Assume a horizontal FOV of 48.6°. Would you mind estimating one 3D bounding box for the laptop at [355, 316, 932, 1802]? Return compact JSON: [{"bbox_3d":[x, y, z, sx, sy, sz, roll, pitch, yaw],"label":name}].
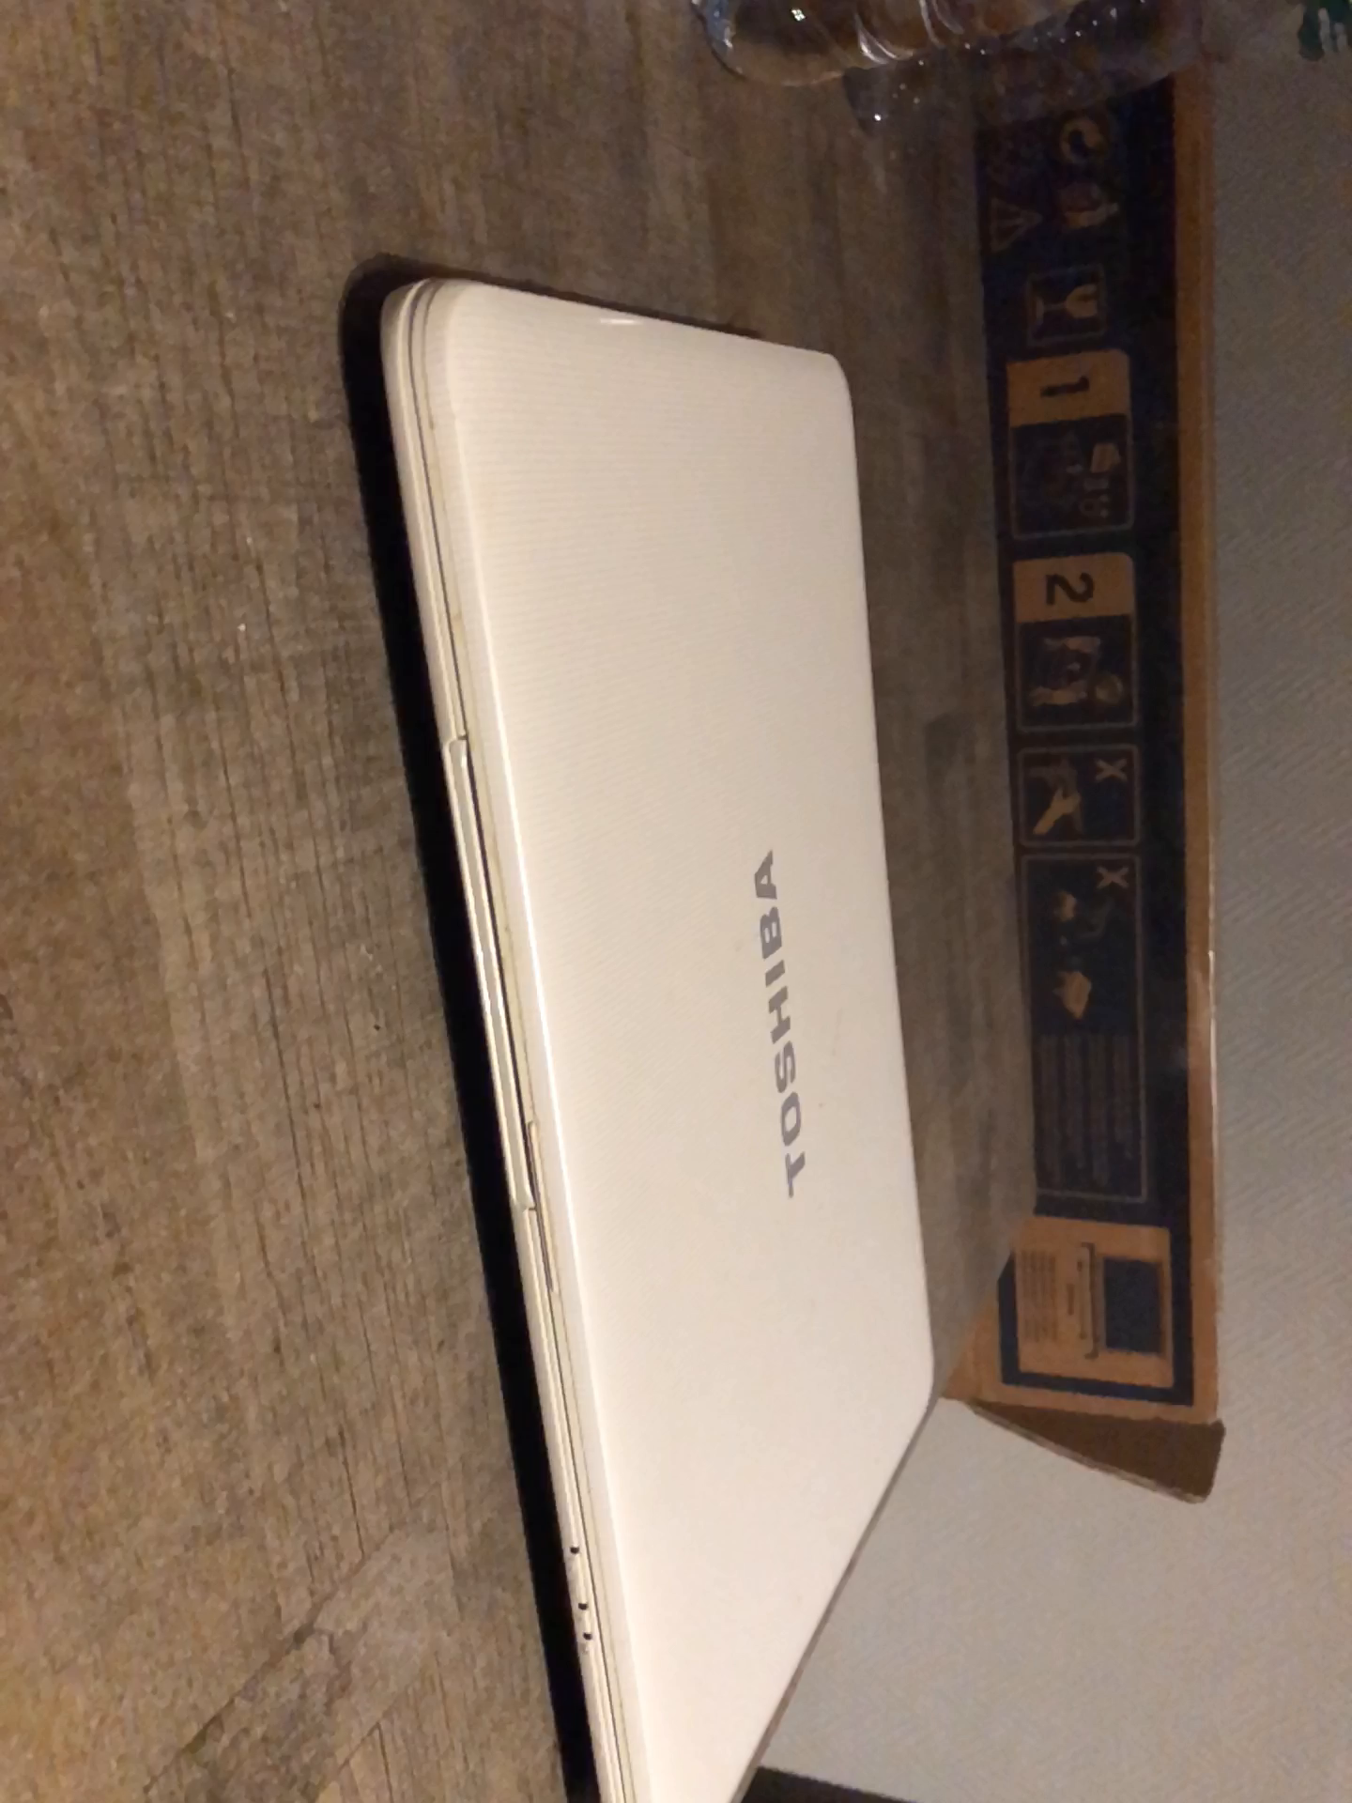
[{"bbox_3d":[0.017,0.038,0.436,0.228,0.020,0.376,-30,116,-60],"label":"laptop"}]
